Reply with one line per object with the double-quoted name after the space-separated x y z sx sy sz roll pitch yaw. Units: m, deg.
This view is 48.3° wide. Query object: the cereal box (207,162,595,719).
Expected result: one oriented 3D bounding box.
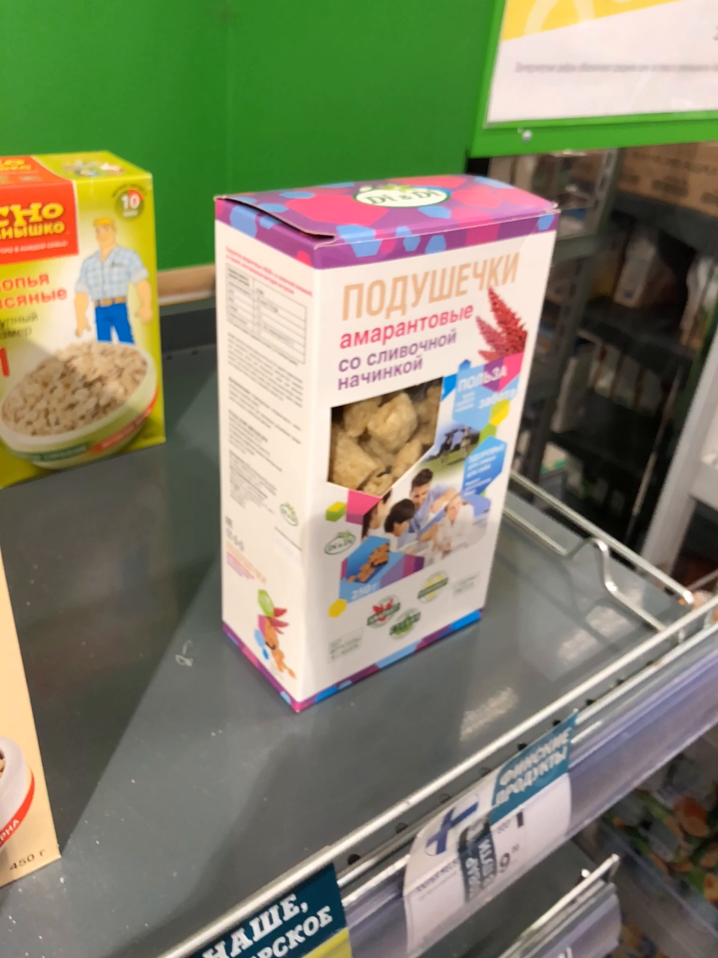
0.010 -0.020 0.386 0.140 0.229 0.080 -19 39 -34 "cereal box"
